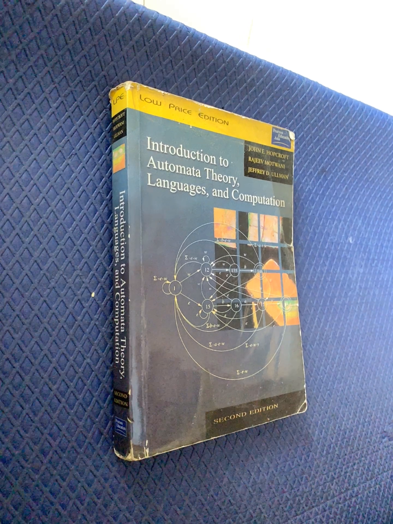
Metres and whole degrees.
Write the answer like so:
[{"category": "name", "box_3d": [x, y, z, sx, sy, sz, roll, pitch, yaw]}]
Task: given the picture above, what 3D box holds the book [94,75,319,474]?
[{"category": "book", "box_3d": [0.010, 0.005, 0.298, 0.151, 0.050, 0.230, 1, 82, -36]}]
